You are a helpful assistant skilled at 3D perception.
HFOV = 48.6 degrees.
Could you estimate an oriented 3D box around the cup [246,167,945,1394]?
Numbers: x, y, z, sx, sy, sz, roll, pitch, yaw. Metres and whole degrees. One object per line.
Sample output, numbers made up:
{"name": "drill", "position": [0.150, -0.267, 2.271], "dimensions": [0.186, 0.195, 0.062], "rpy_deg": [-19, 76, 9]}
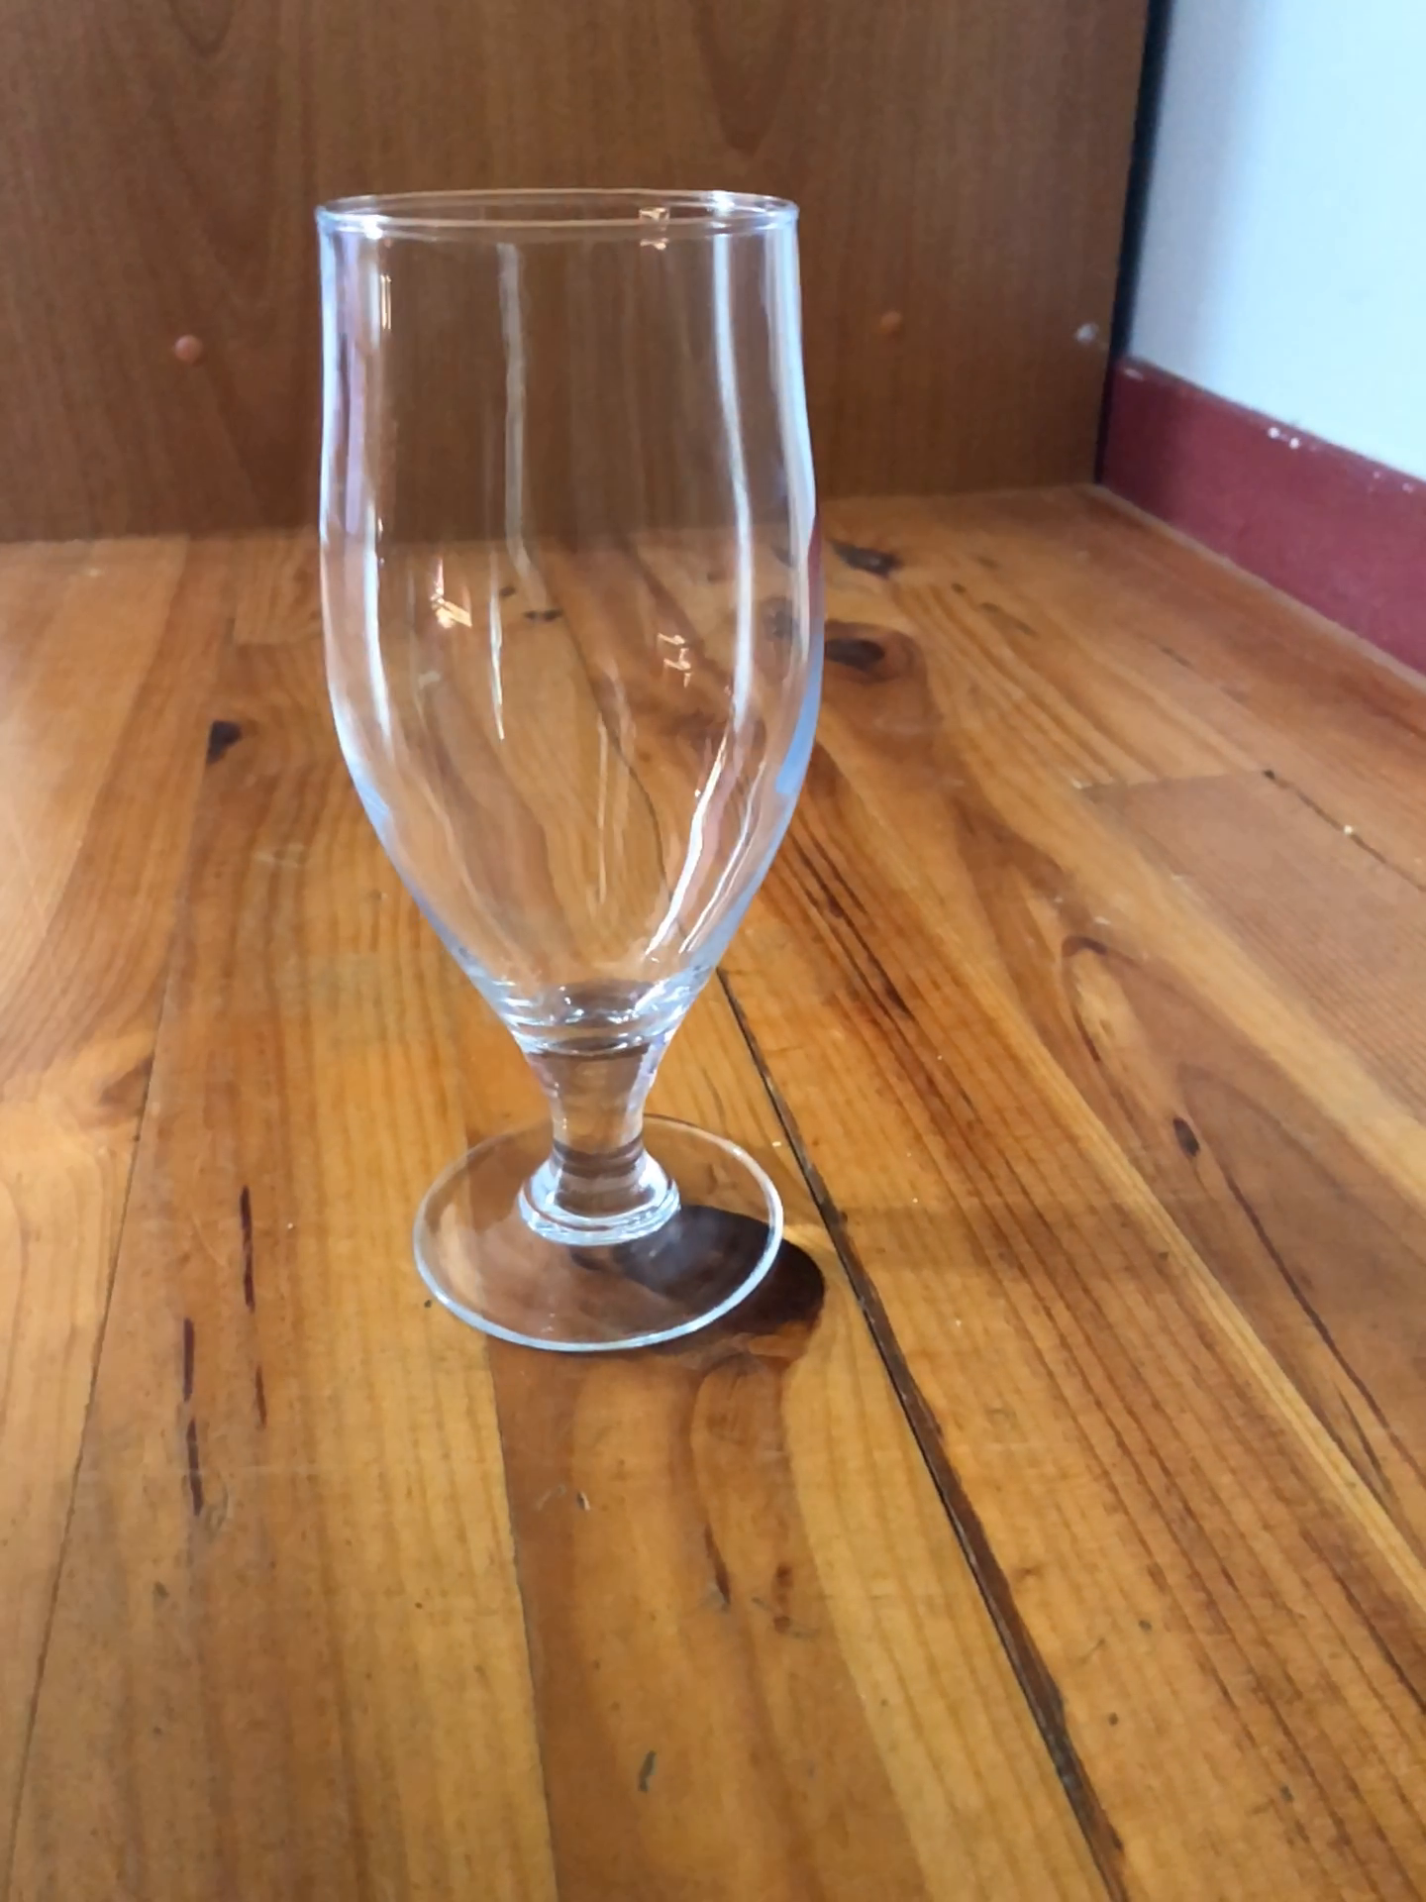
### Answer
{"name": "cup", "position": [-0.023, -0.029, 0.271], "dimensions": [0.083, 0.183, 0.081], "rpy_deg": [0, 30, 0]}
